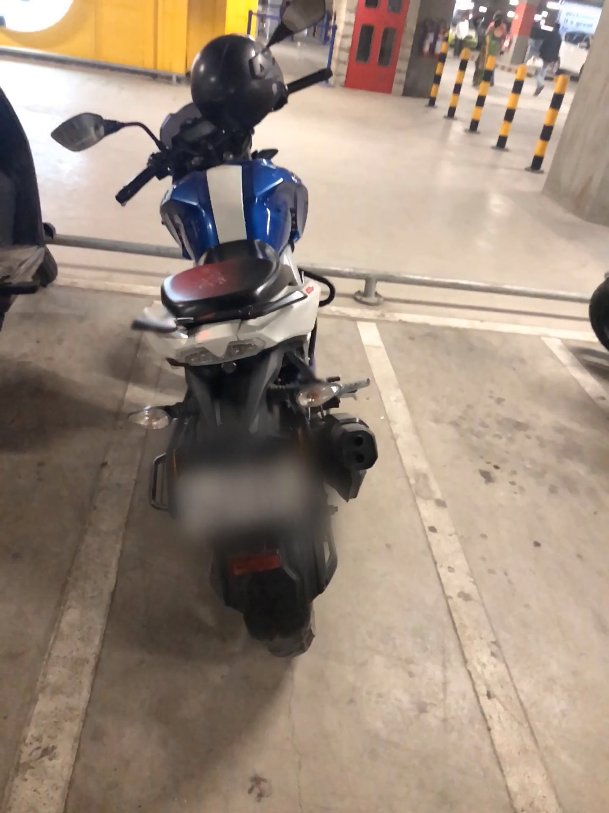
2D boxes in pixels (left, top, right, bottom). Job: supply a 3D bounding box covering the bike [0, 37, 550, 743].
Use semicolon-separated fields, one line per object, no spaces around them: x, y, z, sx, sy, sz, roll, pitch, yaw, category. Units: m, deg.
-0.341;-0.310;1.947;0.806;1.162;1.995;2;31;-13;bike
